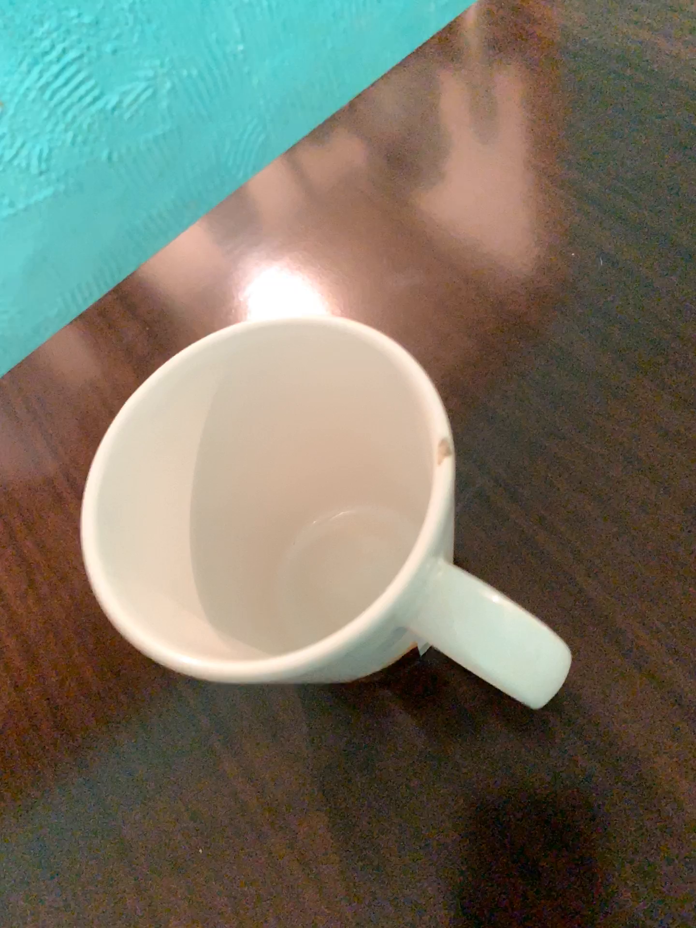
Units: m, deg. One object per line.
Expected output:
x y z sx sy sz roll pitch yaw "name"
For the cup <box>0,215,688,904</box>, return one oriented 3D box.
-0.001 0.018 0.169 0.110 0.080 0.090 28 76 26 "cup"
